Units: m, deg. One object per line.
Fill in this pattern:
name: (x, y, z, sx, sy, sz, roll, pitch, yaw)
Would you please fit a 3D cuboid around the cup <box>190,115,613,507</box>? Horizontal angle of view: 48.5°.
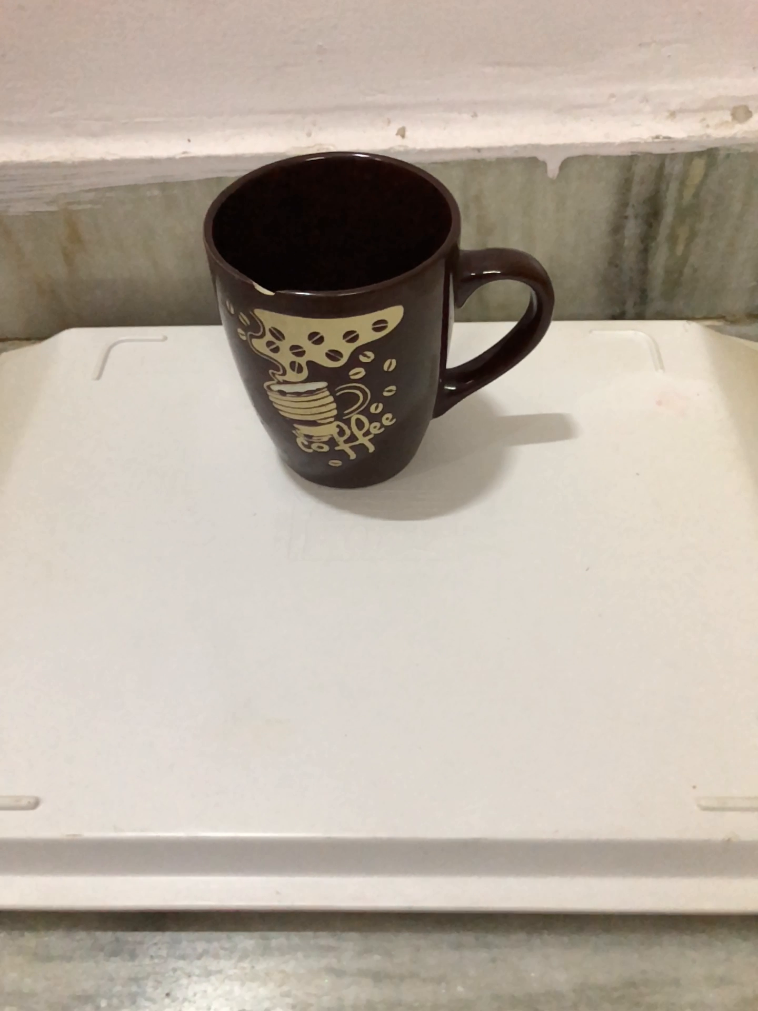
cup: (0.004, -0.066, 0.297, 0.120, 0.099, 0.070, -8, 49, -4)
